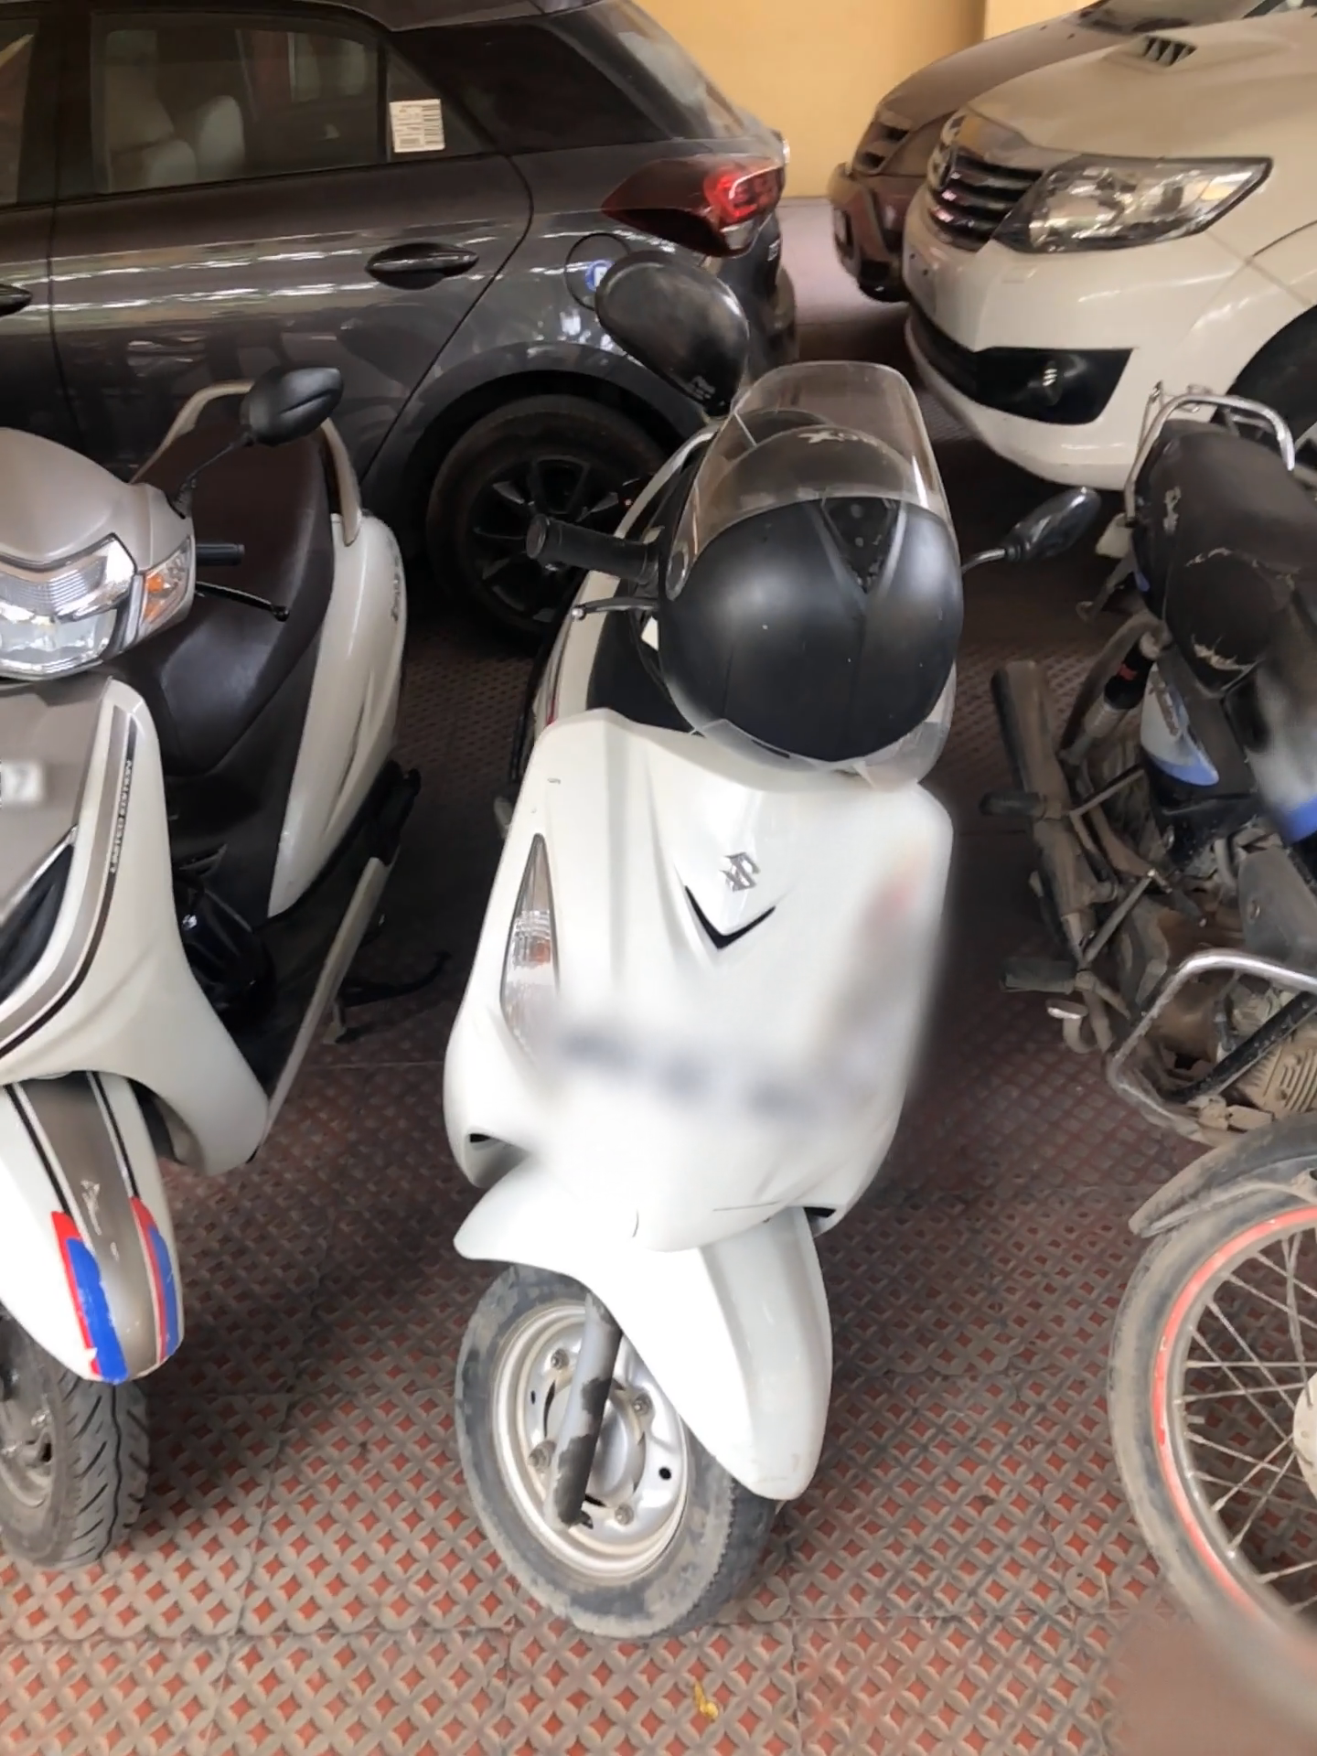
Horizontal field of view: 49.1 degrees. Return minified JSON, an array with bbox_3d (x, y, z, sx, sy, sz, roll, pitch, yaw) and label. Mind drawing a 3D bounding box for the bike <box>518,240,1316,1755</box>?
[{"bbox_3d":[0.292,0.035,1.832,0.832,0.940,1.516,-4,42,-3],"label":"bike"}]
